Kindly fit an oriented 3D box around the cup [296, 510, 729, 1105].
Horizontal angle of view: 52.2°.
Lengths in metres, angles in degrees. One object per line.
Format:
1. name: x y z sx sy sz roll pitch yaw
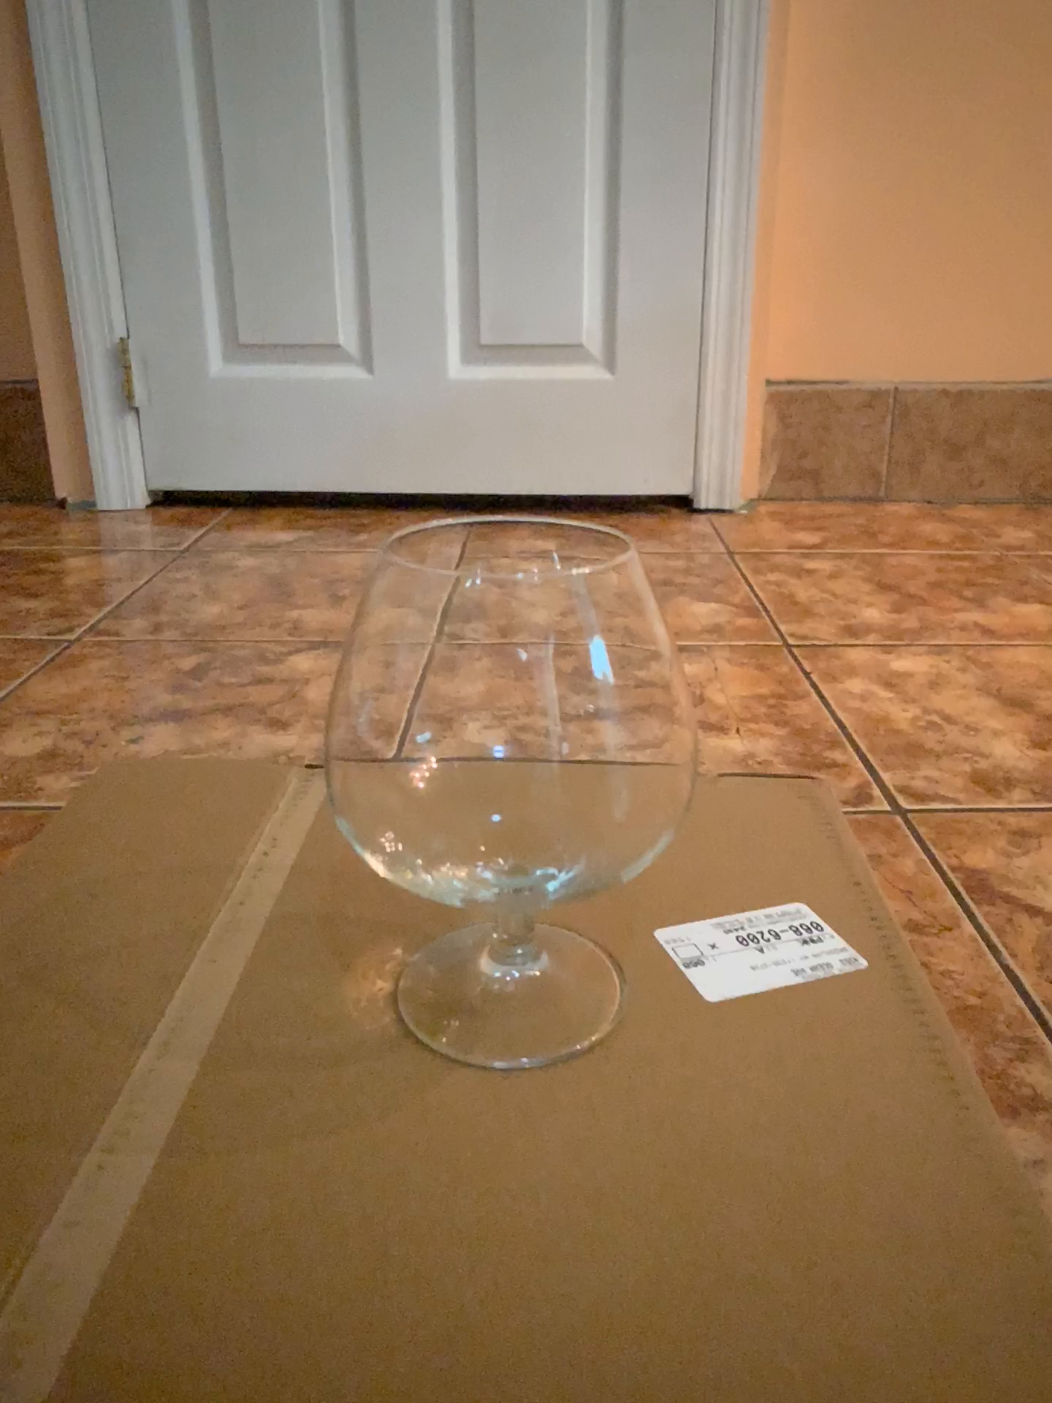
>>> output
1. cup: -0.004 0.029 0.328 0.105 0.158 0.085 -1 20 -1
